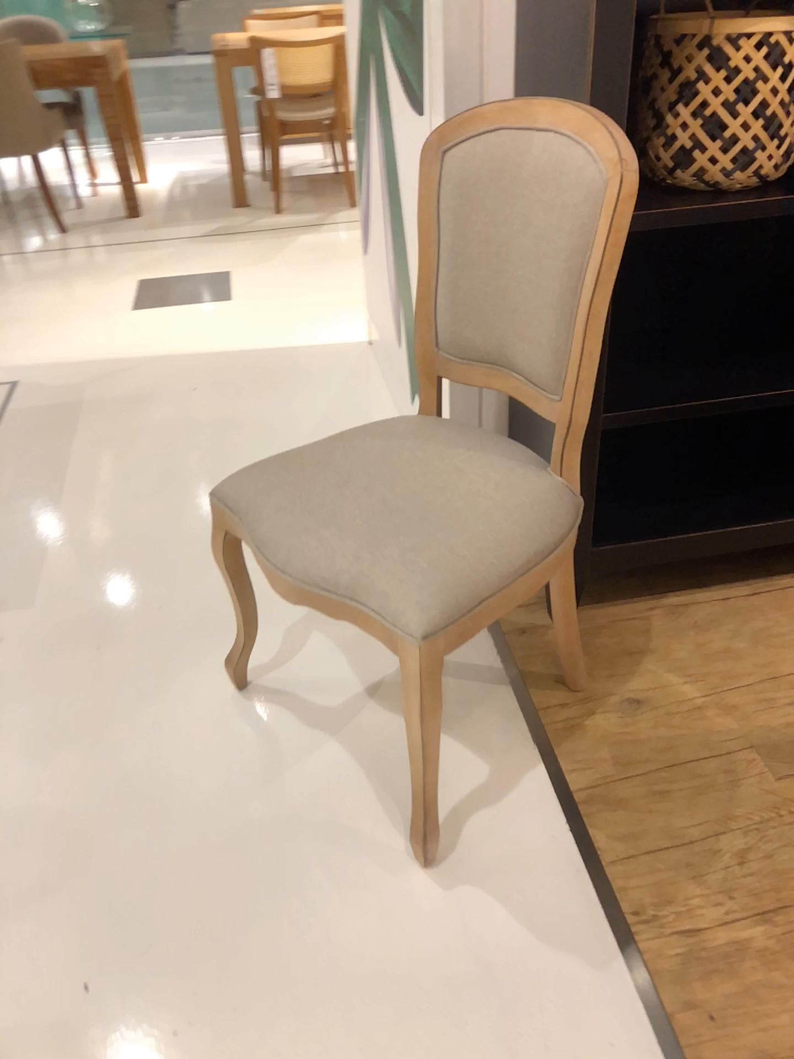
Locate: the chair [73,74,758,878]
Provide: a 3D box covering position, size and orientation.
[{"bbox_3d":[0.025,-0.125,1.268,0.552,0.873,0.603,-28,40,-32],"label":"chair"}]
